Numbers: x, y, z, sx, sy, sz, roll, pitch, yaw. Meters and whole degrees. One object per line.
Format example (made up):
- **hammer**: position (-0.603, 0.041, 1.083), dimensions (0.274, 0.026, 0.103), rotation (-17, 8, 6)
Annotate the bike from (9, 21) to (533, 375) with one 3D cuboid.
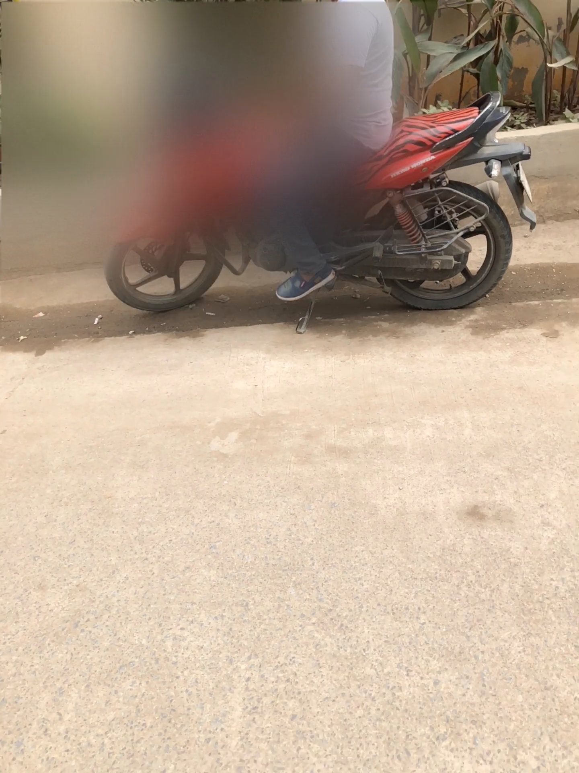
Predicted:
- **bike**: position (0.032, -0.766, 2.736), dimensions (1.786, 1.208, 0.694), rotation (-1, 33, 9)
